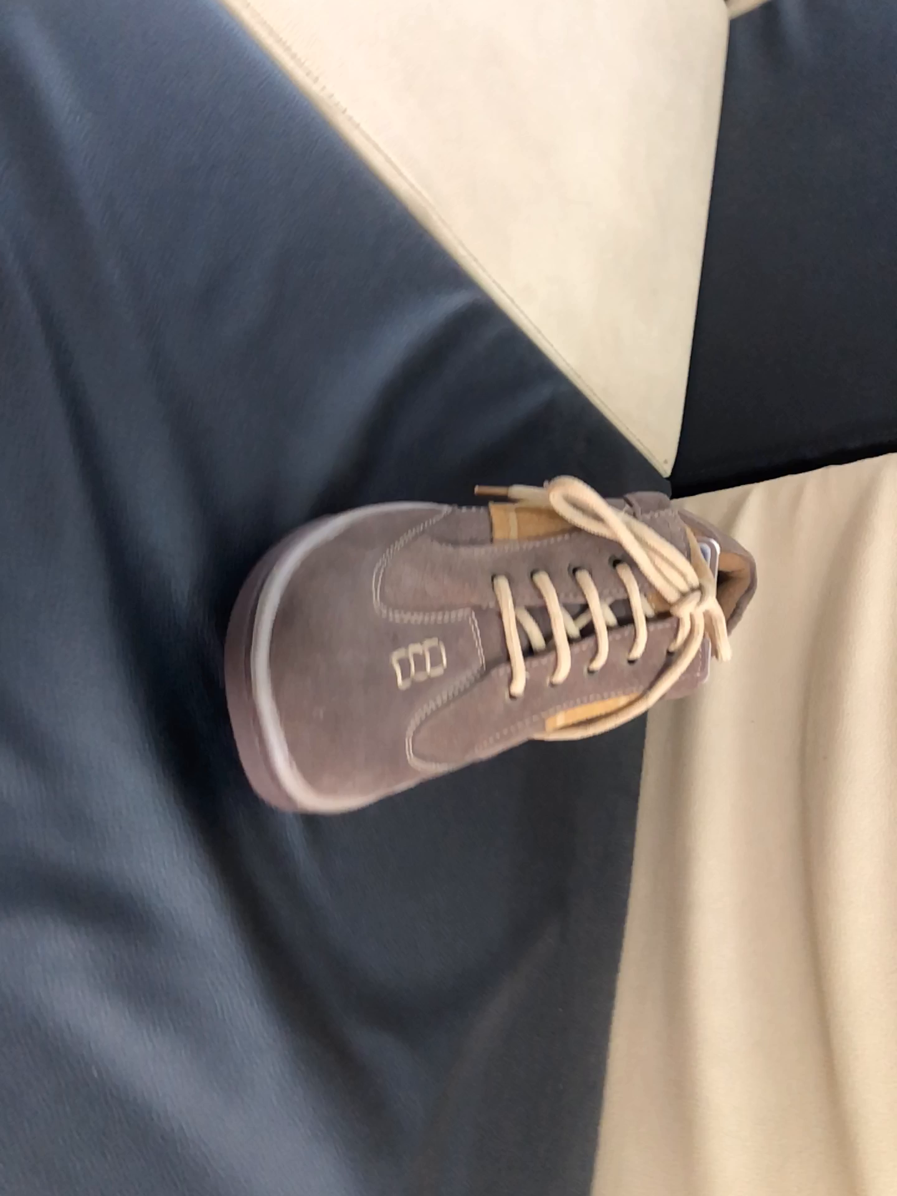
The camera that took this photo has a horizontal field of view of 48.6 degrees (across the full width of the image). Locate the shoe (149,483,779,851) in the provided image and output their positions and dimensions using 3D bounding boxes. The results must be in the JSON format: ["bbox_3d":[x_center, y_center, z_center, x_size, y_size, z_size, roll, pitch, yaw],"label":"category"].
[{"bbox_3d":[0.034,0.011,0.405,0.292,0.079,0.100,-8,89,-51],"label":"shoe"}]
